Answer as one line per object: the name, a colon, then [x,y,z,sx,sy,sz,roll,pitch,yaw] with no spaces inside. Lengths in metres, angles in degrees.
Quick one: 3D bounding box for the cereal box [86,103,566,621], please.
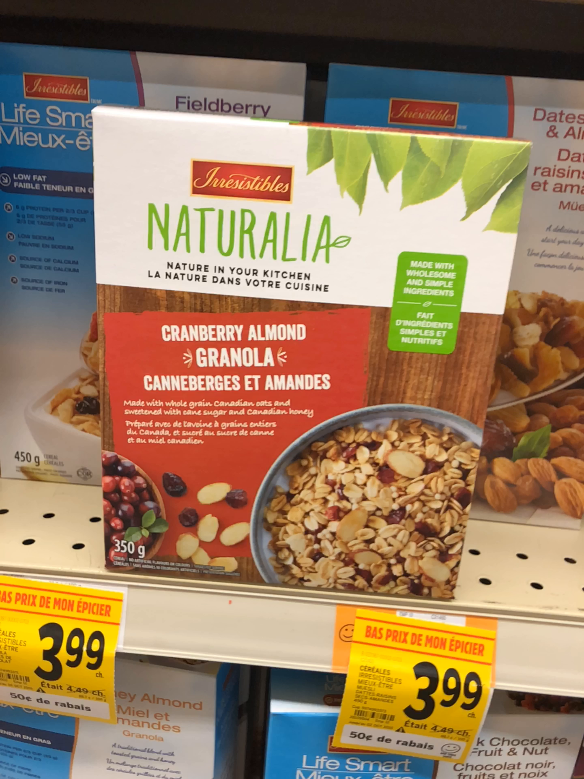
cereal box: [0.006,-0.009,0.294,0.170,0.209,0.060,5,20,2]
